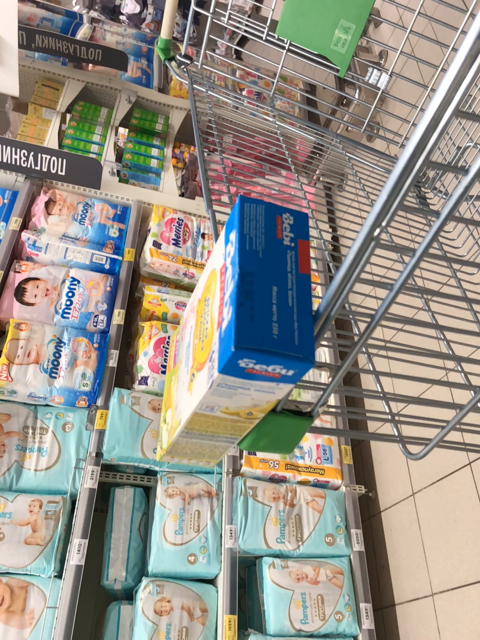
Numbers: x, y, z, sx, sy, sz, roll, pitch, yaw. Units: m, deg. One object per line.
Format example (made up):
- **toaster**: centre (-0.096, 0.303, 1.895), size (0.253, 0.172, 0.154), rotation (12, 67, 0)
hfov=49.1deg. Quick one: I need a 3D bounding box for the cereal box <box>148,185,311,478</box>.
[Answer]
- **cereal box**: centre (-0.016, 0.024, 0.401), size (0.211, 0.050, 0.130), rotation (123, 156, -53)
